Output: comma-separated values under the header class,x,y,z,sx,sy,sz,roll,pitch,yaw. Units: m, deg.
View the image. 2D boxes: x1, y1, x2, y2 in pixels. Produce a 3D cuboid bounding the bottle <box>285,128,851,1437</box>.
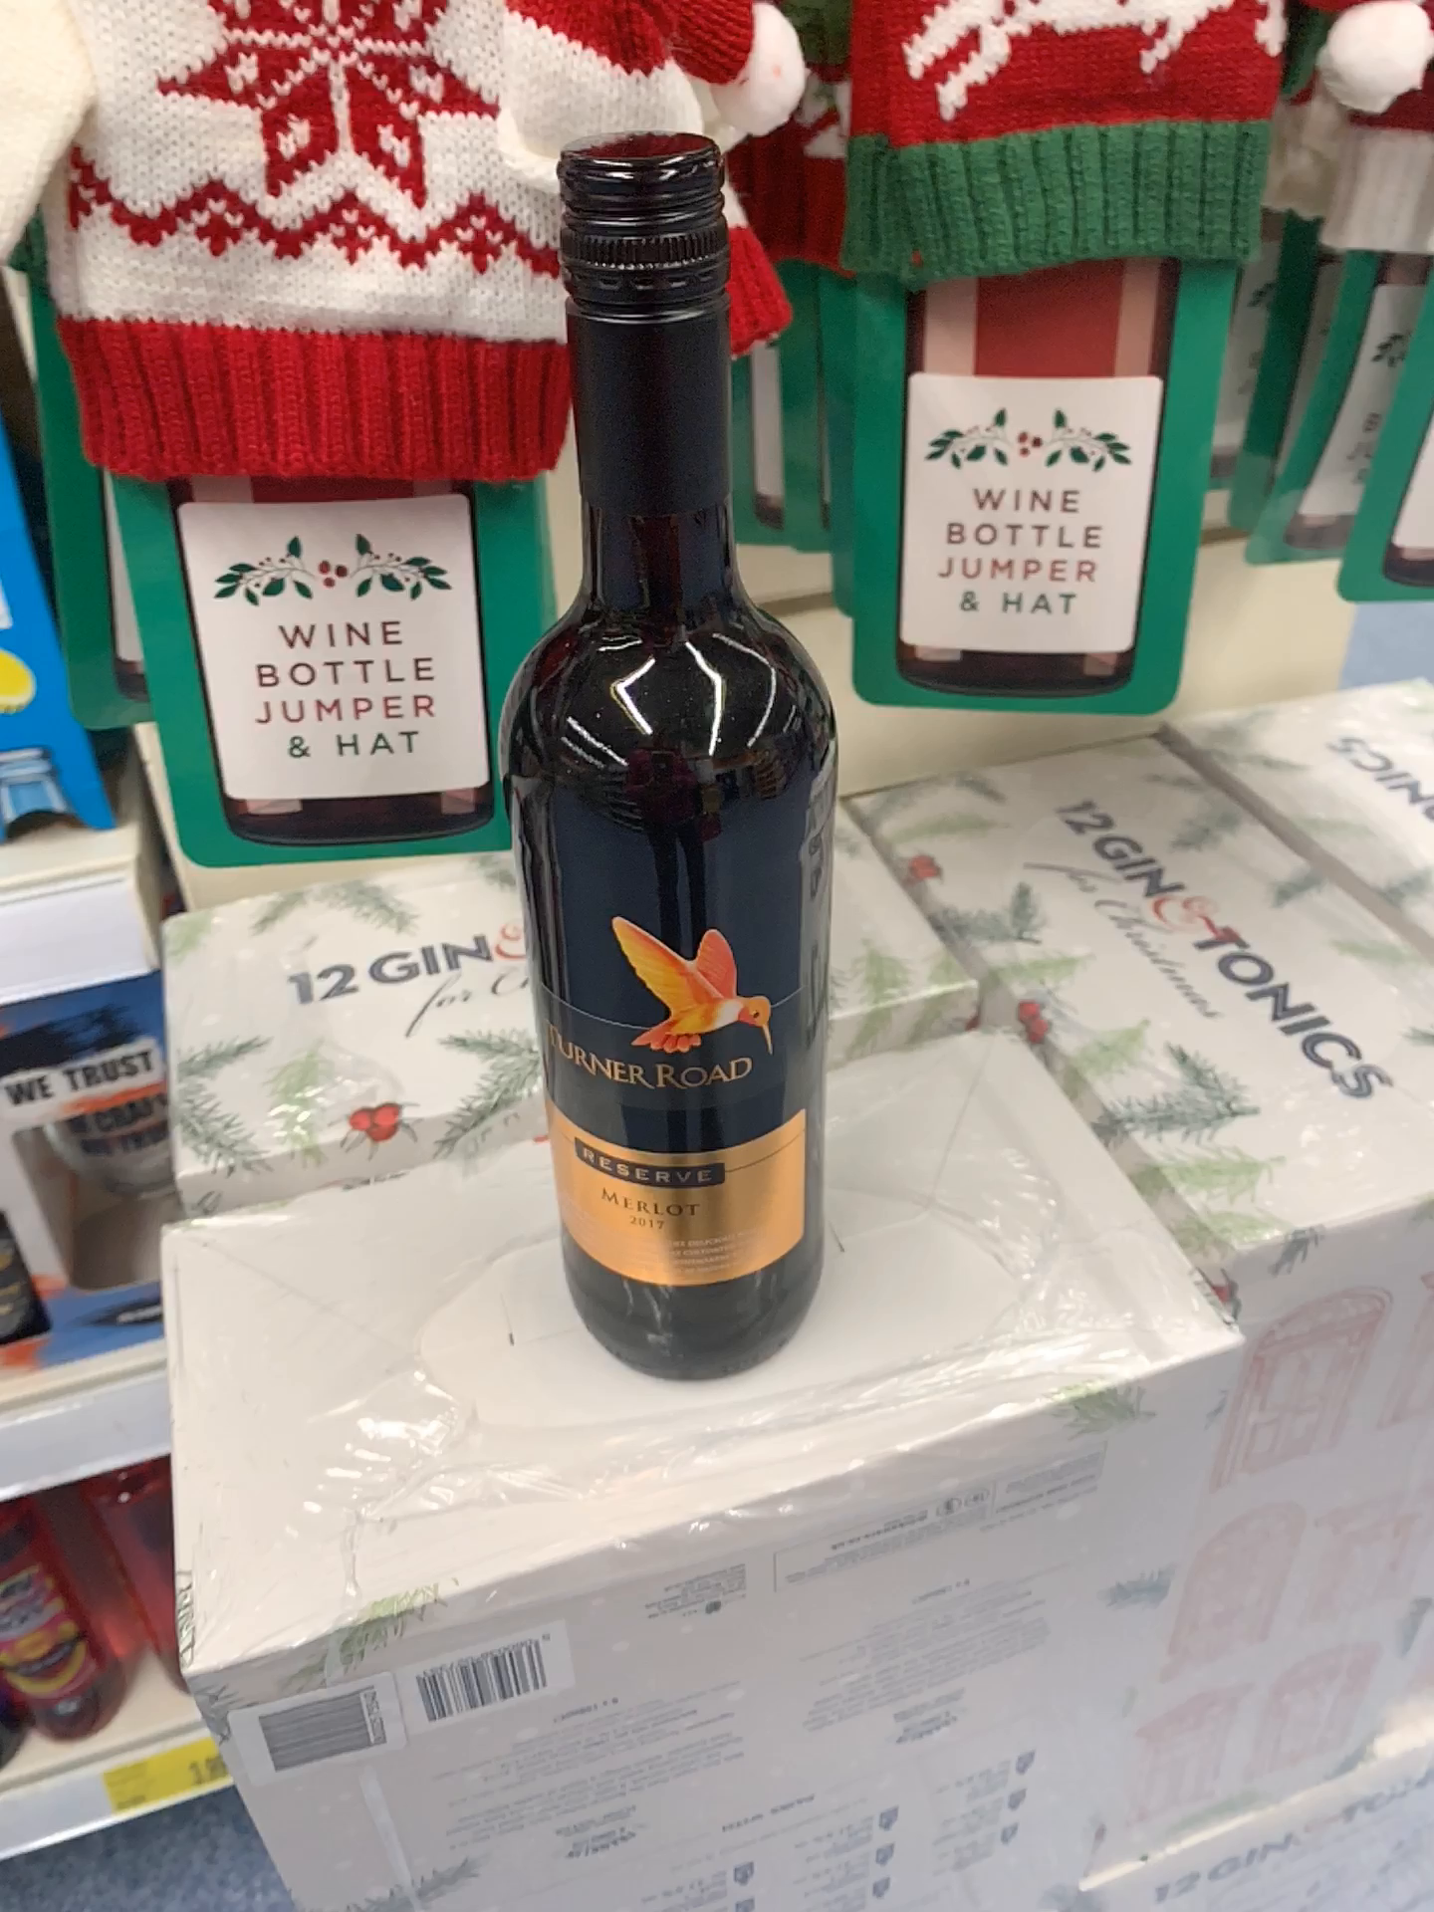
class,x,y,z,sx,sy,sz,roll,pitch,yaw
bottle,-0.016,-0.019,0.337,0.078,0.288,0.075,-2,35,1
